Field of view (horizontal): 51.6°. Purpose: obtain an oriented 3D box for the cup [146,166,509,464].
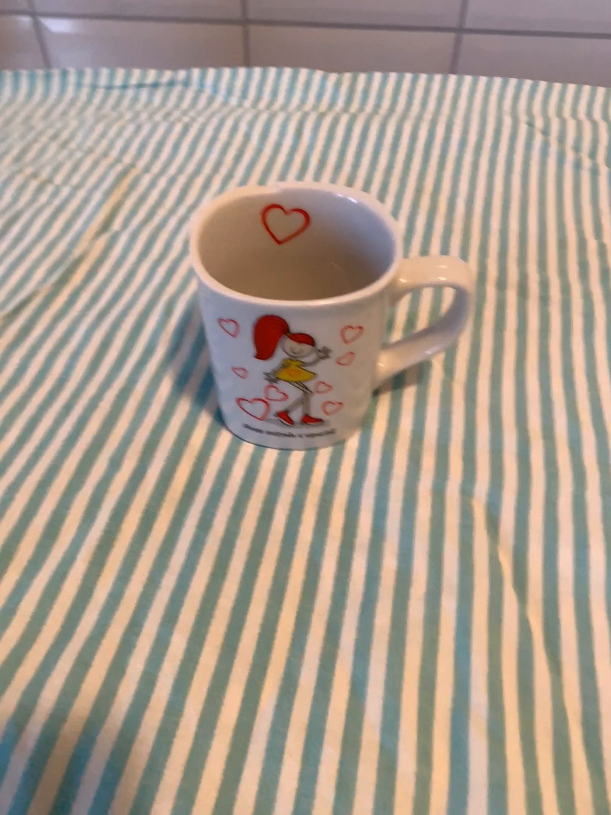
[{"bbox_3d":[0.009,-0.035,0.244,0.110,0.080,0.070,5,49,3],"label":"cup"}]
